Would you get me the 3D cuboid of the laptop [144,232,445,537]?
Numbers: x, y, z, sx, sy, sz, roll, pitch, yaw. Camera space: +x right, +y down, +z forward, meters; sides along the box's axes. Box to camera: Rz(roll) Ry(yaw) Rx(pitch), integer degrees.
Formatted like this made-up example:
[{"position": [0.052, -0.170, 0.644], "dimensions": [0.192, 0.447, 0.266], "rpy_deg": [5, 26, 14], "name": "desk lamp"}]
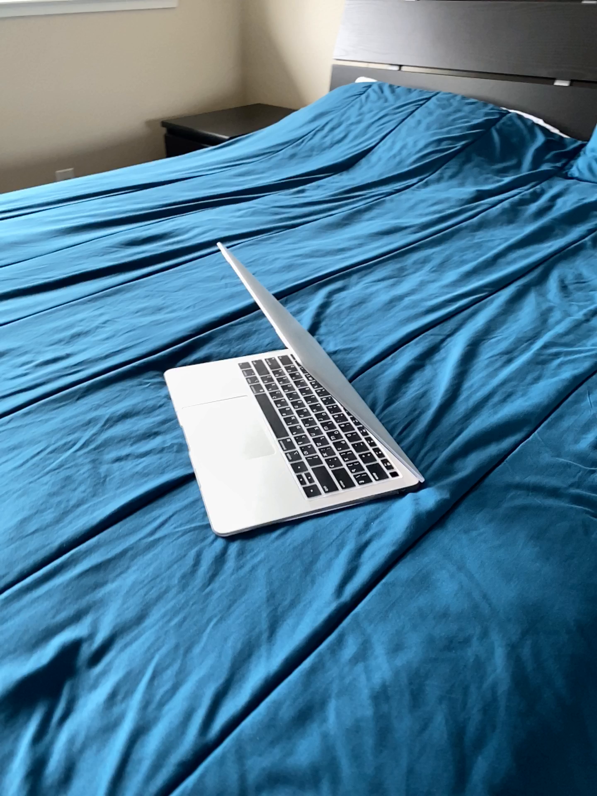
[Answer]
[{"position": [-0.024, -0.040, 0.648], "dimensions": [0.215, 0.161, 0.297], "rpy_deg": [-11, 35, -16], "name": "laptop"}]
